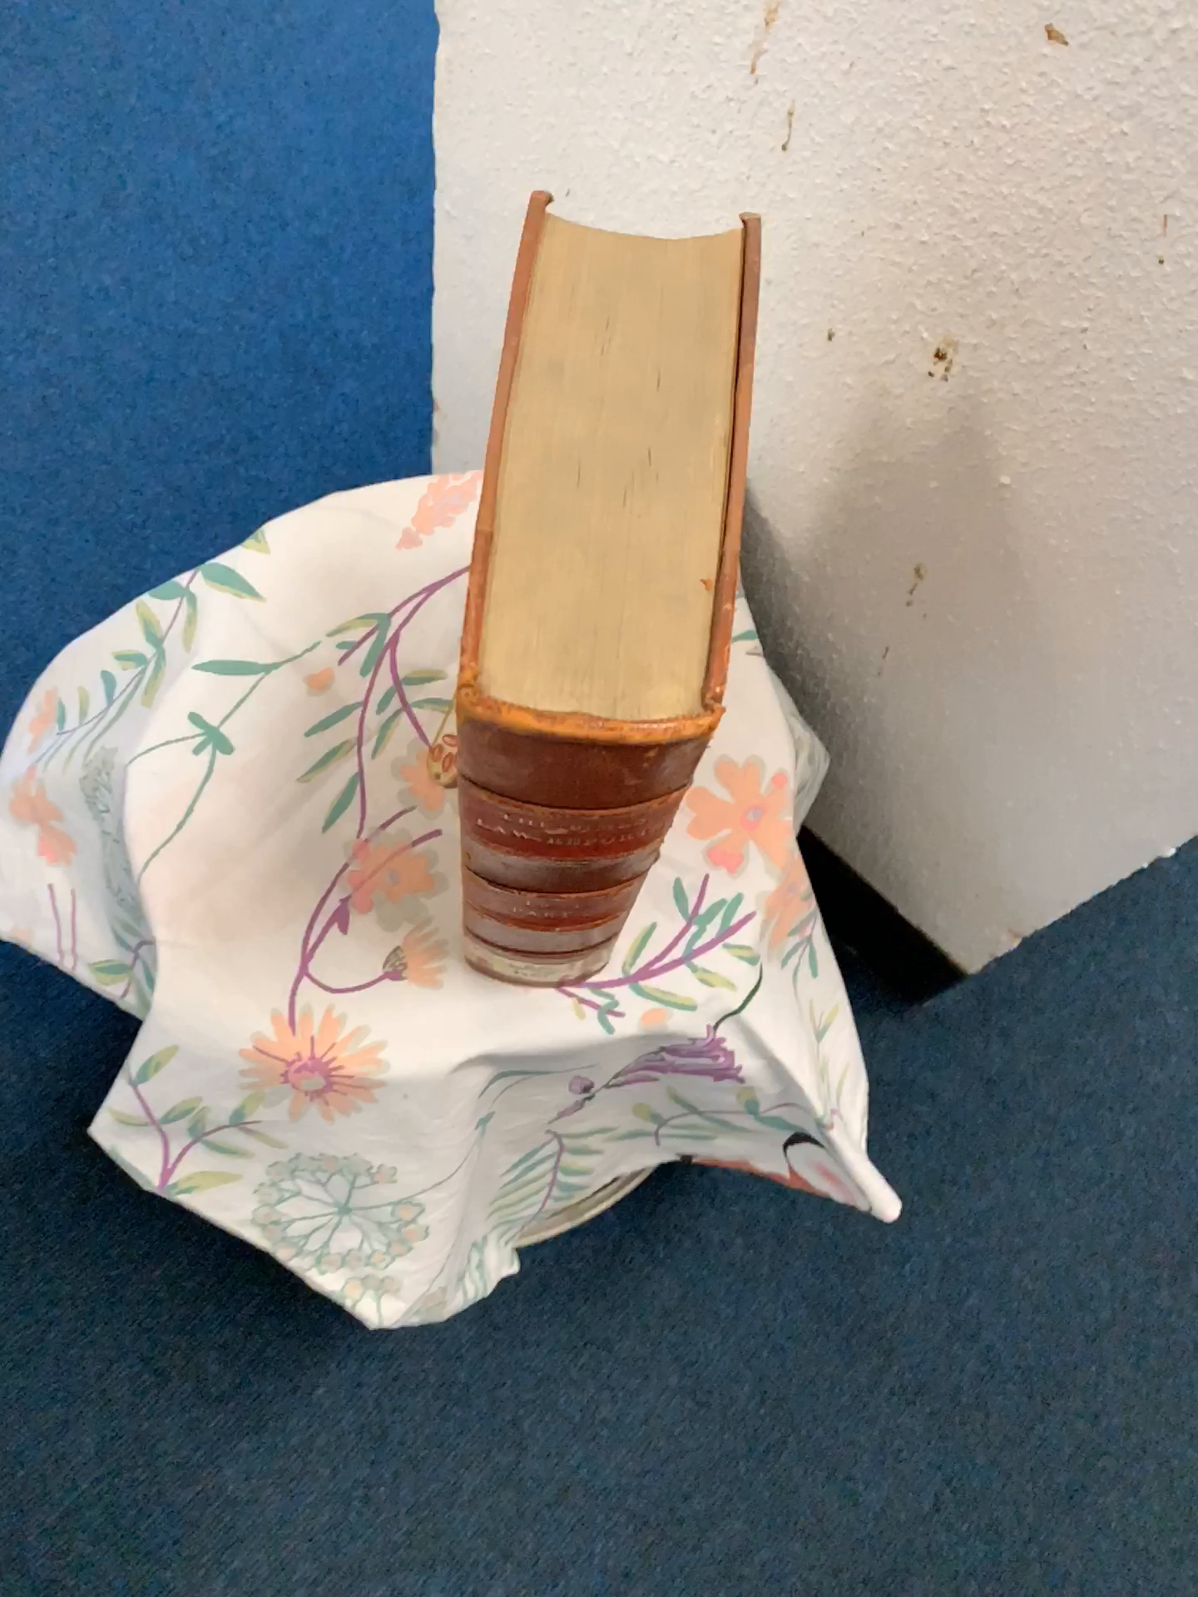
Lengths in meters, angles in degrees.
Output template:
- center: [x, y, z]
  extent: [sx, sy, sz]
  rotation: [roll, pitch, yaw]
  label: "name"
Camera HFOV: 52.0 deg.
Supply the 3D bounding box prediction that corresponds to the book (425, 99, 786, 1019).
- center: [-0.009, -0.049, 0.409]
  extent: [0.070, 0.249, 0.191]
  rotation: [7, 67, -6]
  label: "book"
